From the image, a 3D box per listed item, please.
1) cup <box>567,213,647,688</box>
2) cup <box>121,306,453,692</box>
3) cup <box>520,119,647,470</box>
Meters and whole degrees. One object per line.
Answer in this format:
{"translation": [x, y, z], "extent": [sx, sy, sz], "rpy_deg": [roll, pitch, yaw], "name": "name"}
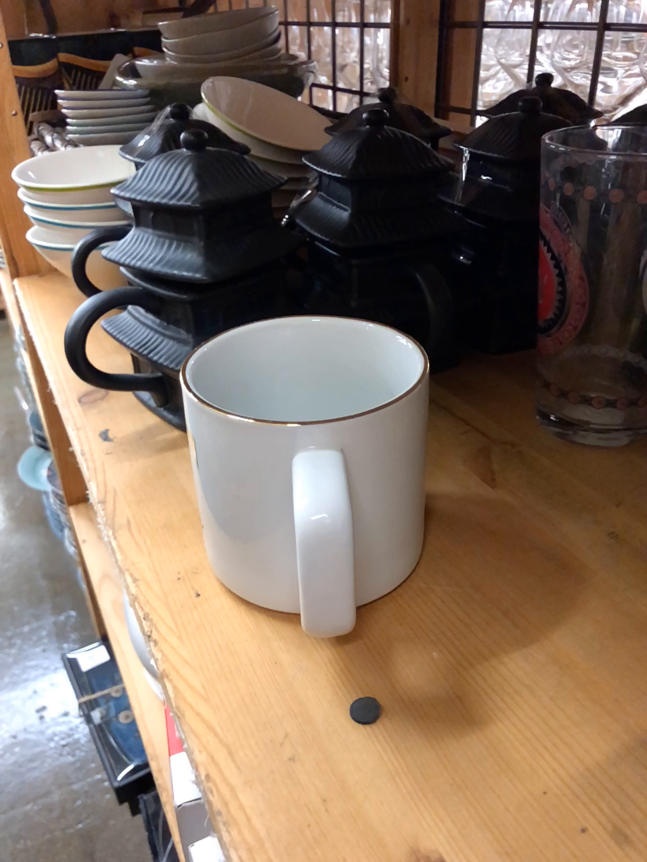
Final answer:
{"translation": [0.144, -0.001, 0.226], "extent": [0.078, 0.104, 0.093], "rpy_deg": [-11, 31, -14], "name": "cup"}
{"translation": [-0.007, 0.017, 0.265], "extent": [0.088, 0.084, 0.123], "rpy_deg": [-1, 30, 2], "name": "cup"}
{"translation": [0.140, -0.067, 0.337], "extent": [0.079, 0.134, 0.093], "rpy_deg": [5, 31, 13], "name": "cup"}
